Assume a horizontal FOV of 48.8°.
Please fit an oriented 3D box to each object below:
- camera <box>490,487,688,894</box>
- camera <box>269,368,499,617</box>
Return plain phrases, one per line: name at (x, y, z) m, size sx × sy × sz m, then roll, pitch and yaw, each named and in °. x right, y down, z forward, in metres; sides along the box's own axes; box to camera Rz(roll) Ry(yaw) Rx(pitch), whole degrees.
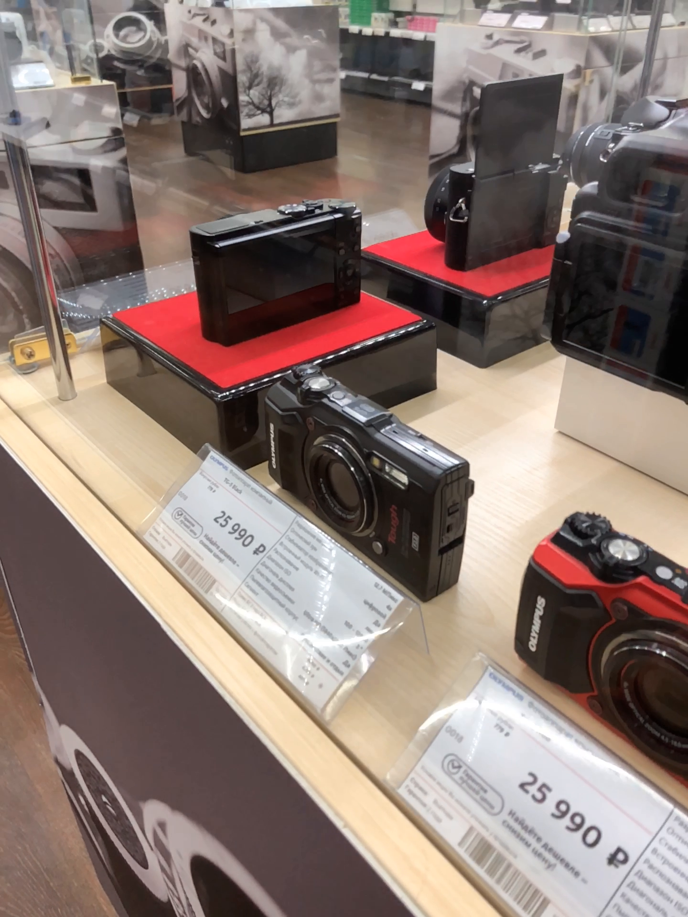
camera at (0.103, 0.065, 0.239) m, size 0.030 × 0.060 × 0.117 m, roll -23°, pitch 39°, yaw -31°
camera at (0.013, 0.010, 0.342) m, size 0.030 × 0.060 × 0.117 m, roll -23°, pitch 39°, yaw -31°
